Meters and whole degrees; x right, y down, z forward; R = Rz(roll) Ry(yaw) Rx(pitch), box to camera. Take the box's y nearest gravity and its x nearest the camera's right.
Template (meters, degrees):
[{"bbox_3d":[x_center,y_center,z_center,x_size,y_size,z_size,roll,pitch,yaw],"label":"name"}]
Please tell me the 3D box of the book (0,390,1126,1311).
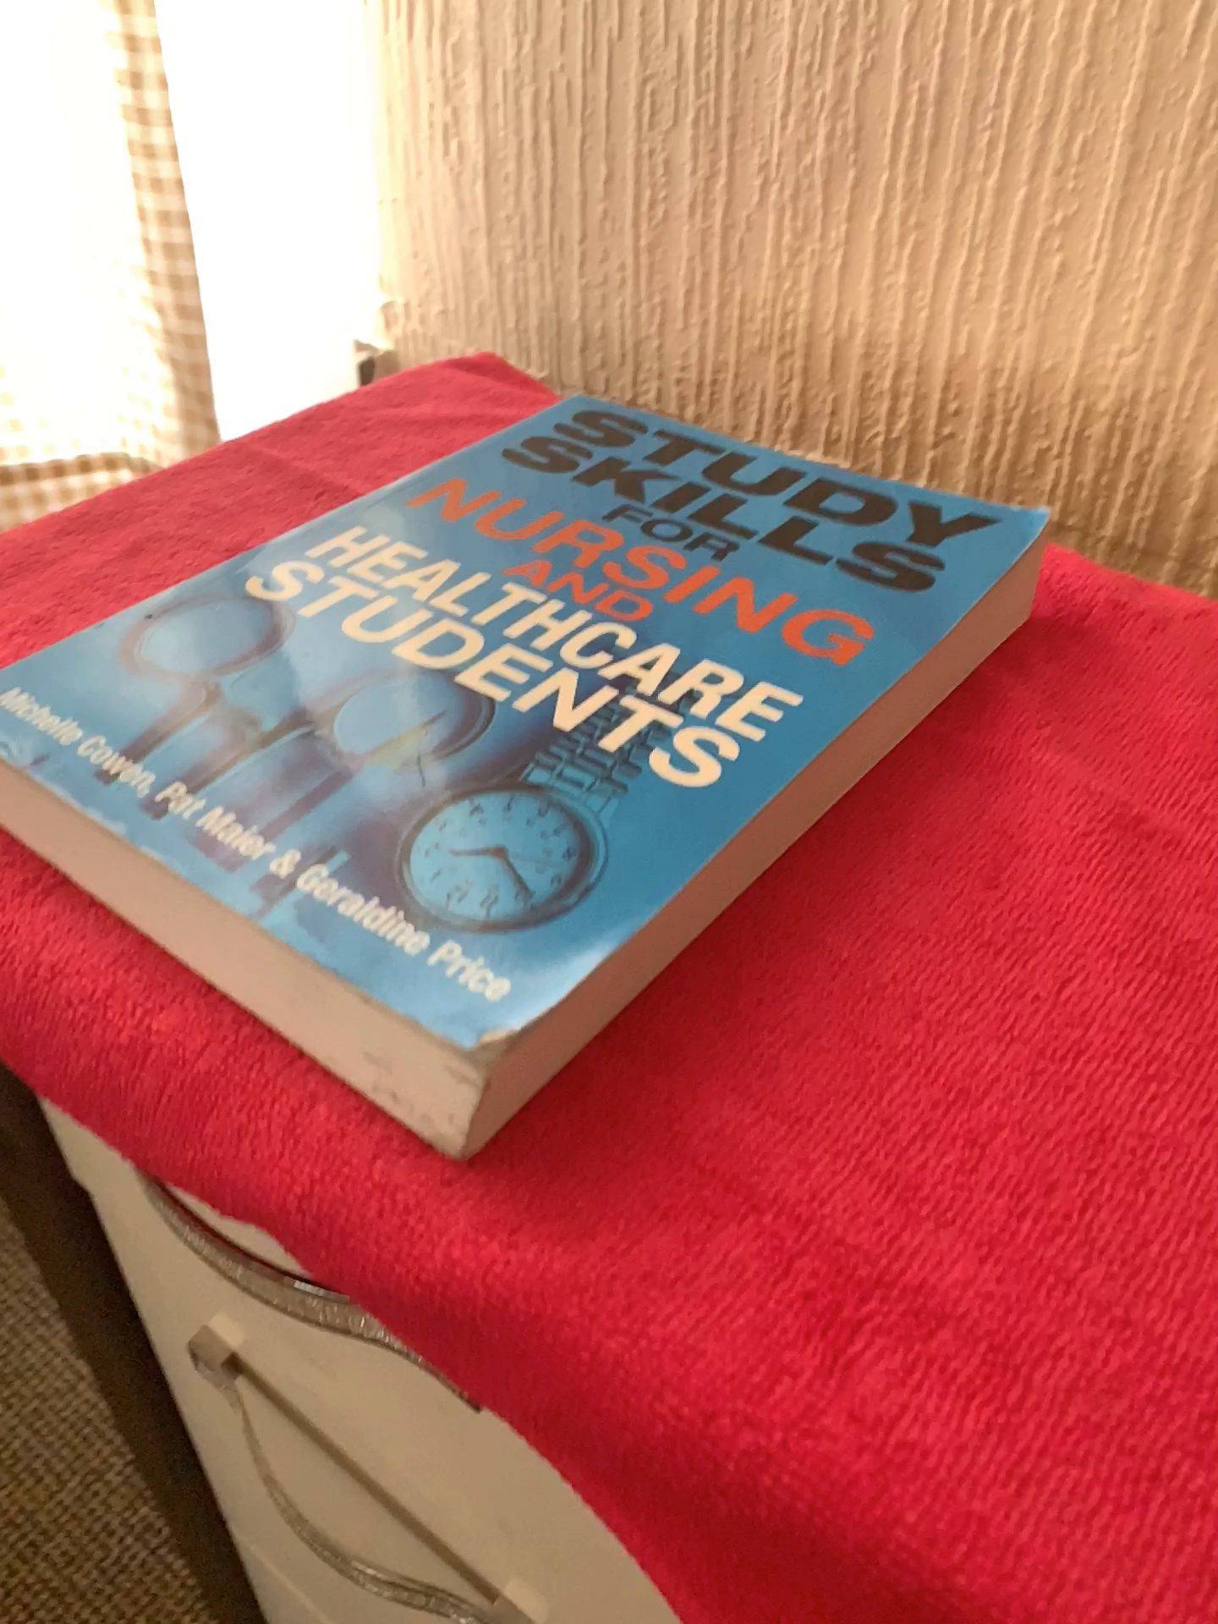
[{"bbox_3d":[-0.010,-0.035,0.333,0.201,0.040,0.272,25,42,27],"label":"book"}]
